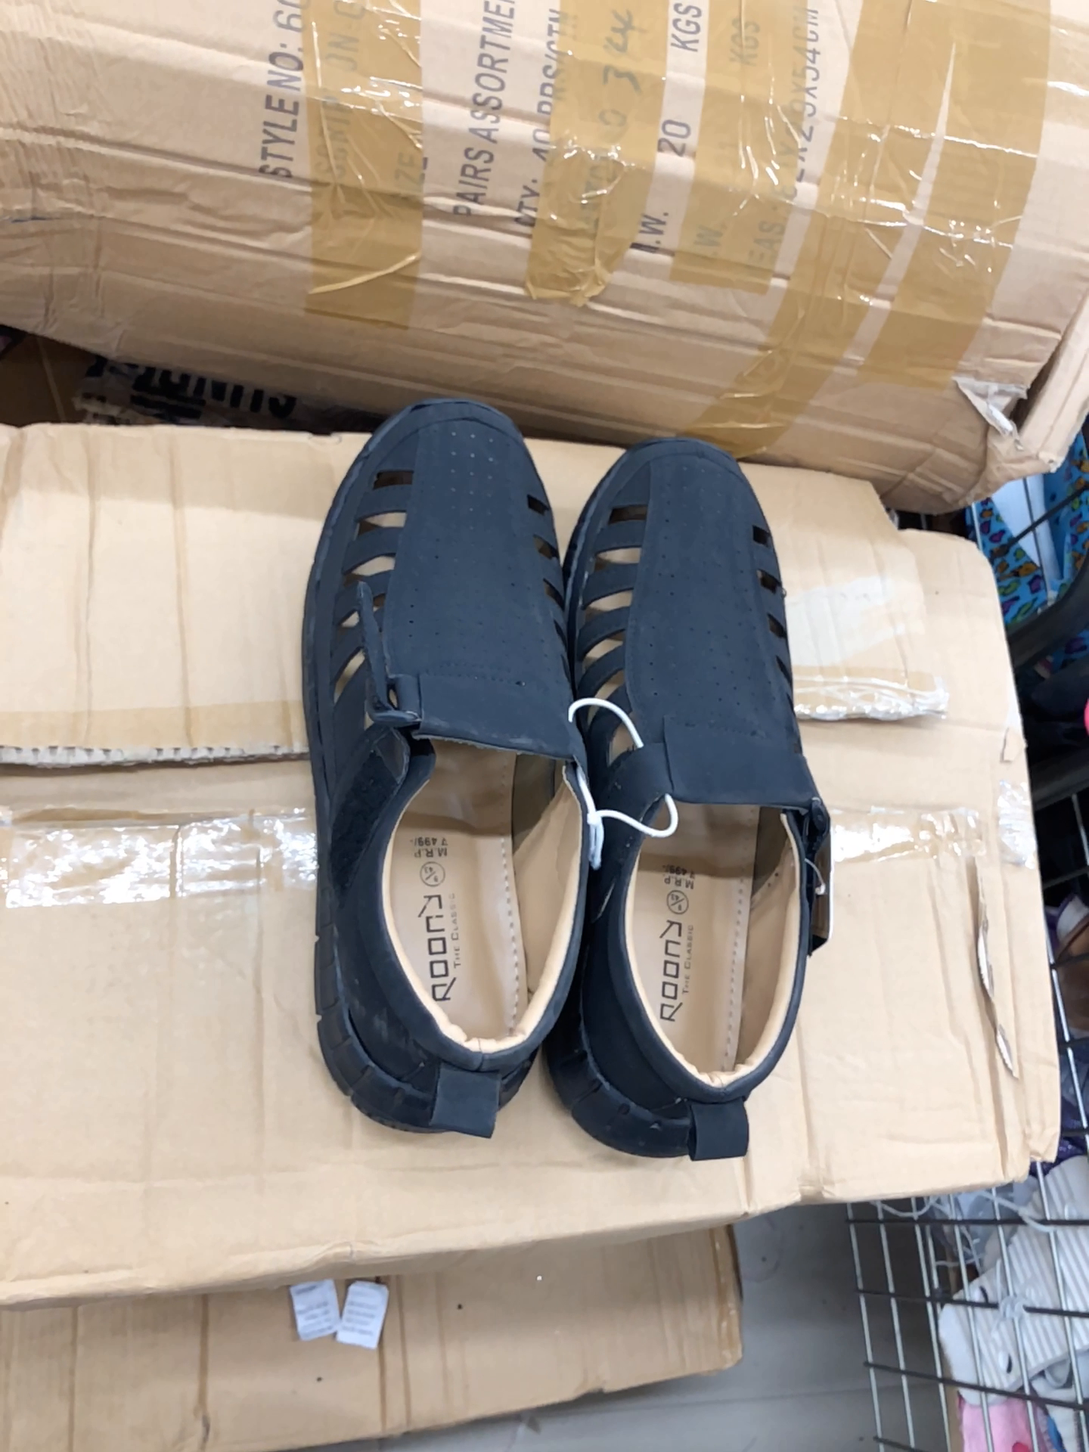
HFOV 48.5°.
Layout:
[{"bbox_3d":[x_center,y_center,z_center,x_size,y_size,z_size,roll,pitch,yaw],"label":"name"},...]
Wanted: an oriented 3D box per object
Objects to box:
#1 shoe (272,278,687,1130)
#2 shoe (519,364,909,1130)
[{"bbox_3d":[-0.037,-0.009,0.438,0.110,0.100,0.281,2,68,-18],"label":"shoe"},{"bbox_3d":[0.052,0.010,0.467,0.100,0.100,0.271,6,66,-16],"label":"shoe"}]
